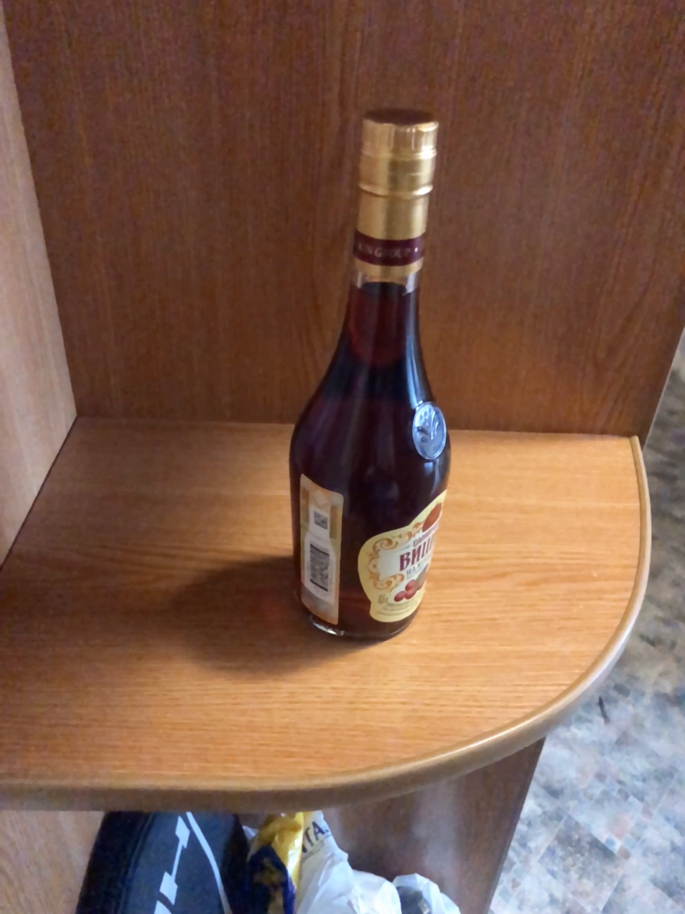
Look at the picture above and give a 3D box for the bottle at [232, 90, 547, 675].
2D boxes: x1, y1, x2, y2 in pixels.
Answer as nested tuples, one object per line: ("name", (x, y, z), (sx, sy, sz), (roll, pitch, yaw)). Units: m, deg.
("bottle", (0.014, -0.027, 0.354), (0.080, 0.244, 0.090), (28, 42, 30))
